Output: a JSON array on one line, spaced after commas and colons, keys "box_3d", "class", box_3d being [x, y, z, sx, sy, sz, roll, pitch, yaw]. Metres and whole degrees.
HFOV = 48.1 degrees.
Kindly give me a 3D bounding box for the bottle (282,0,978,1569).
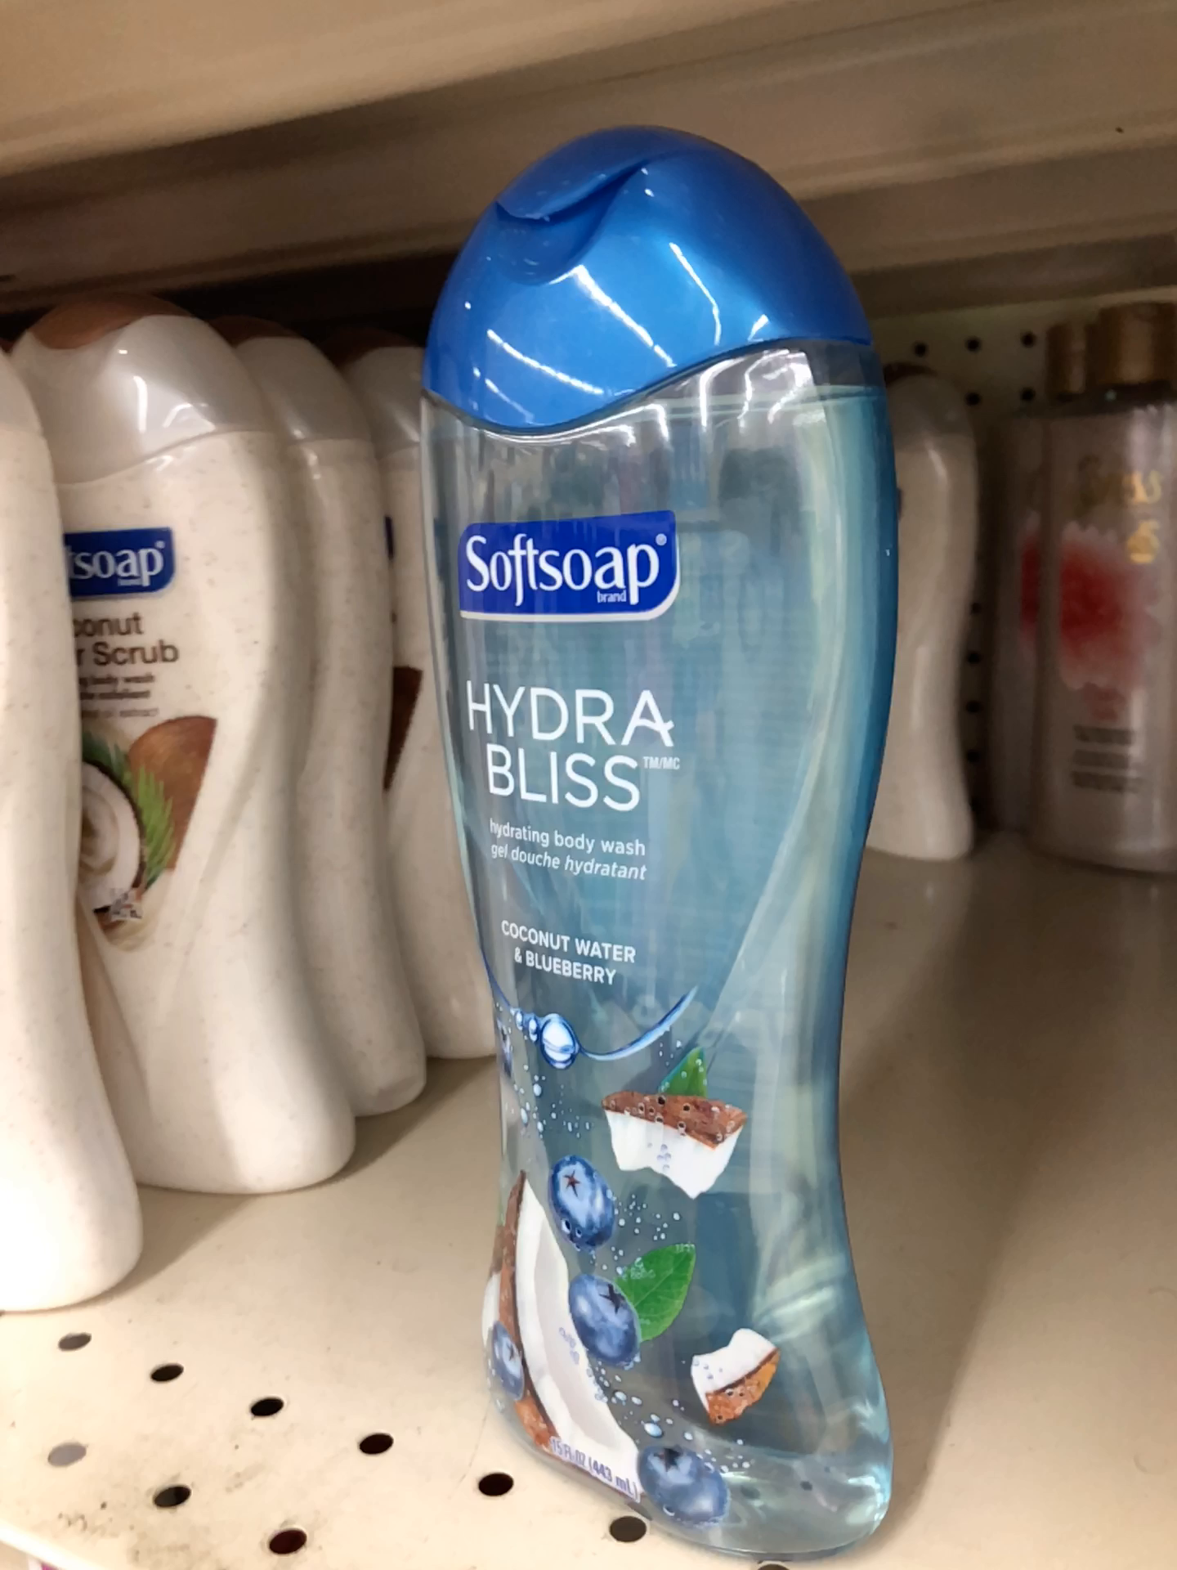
[{"box_3d": [0.010, 0.008, 0.204, 0.080, 0.211, 0.051, 7, 17, 38], "class": "bottle"}]
